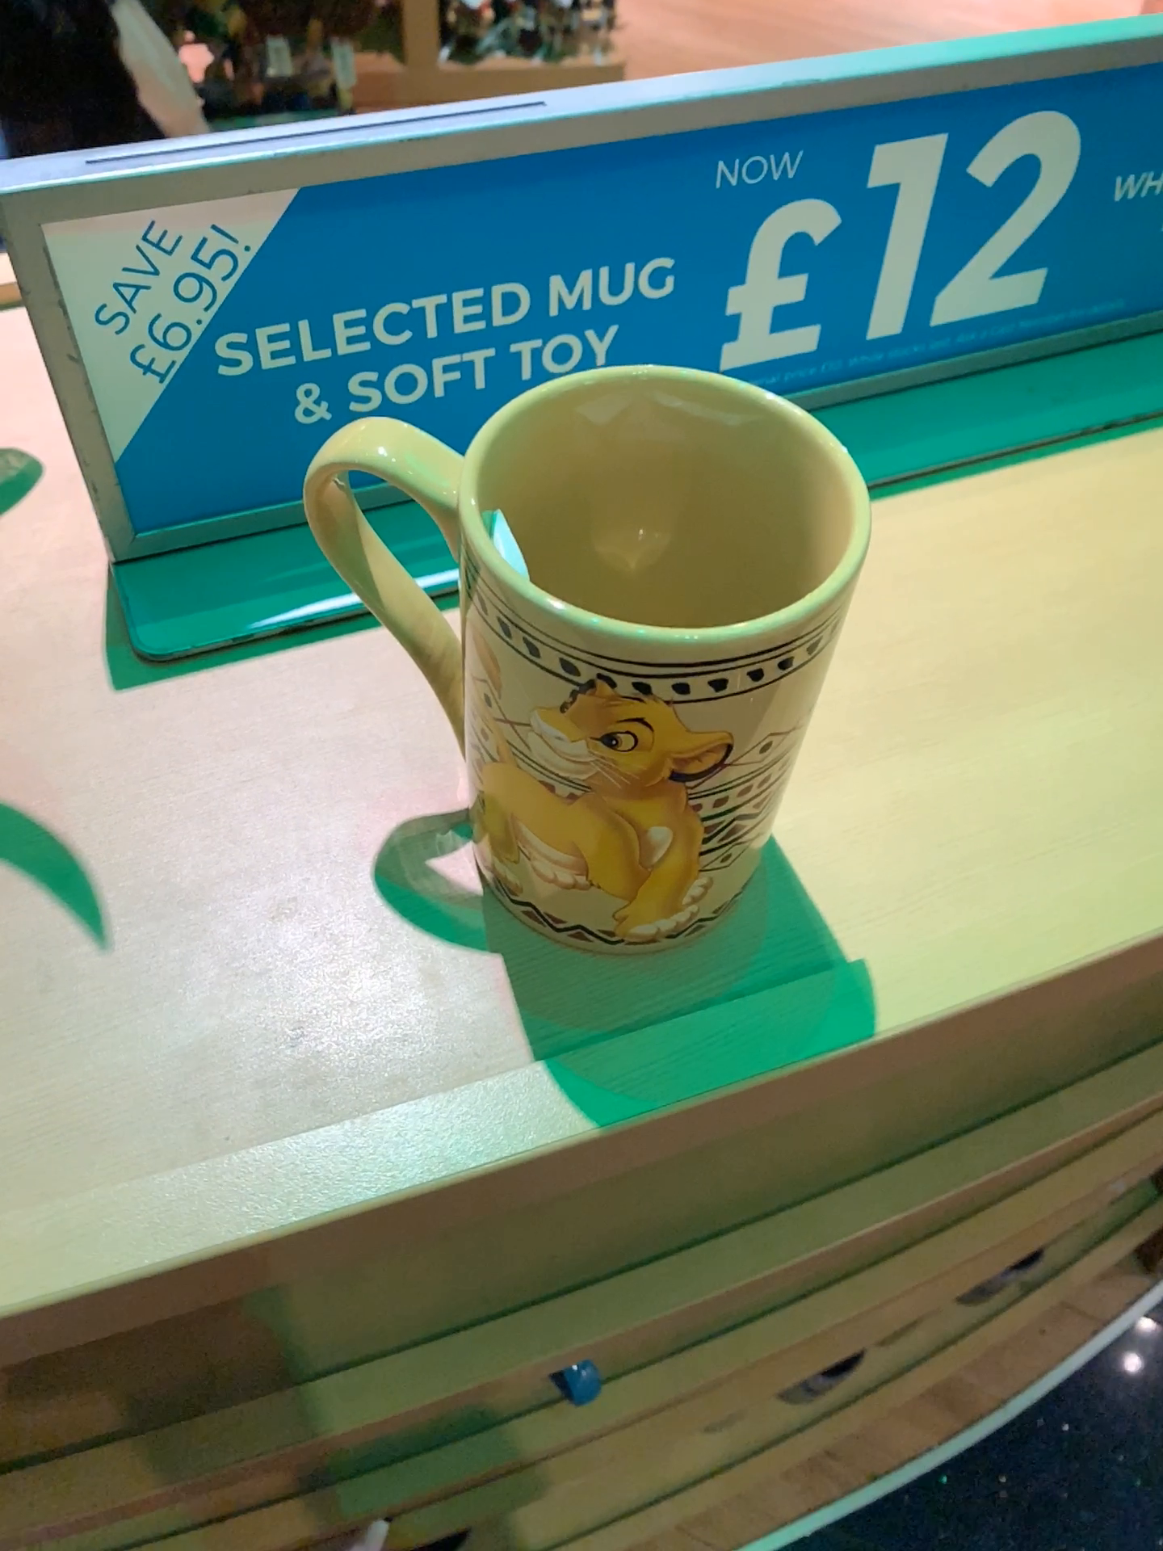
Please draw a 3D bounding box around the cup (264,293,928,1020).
[{"bbox_3d":[0.006,-0.028,0.300,0.119,0.121,0.101,14,49,7],"label":"cup"}]
